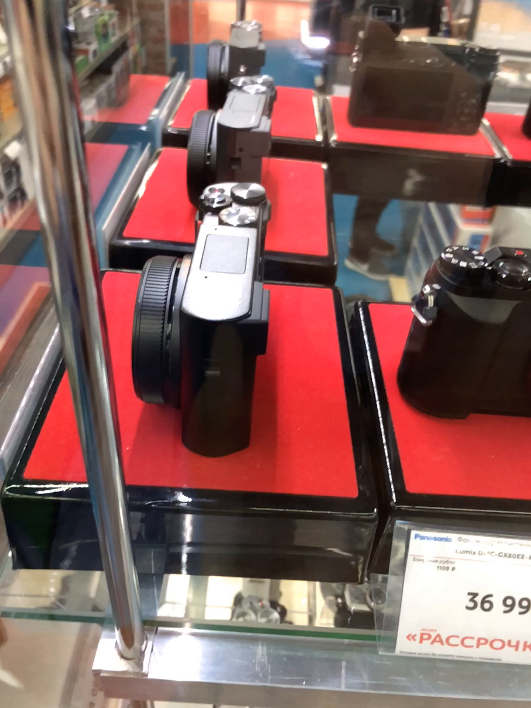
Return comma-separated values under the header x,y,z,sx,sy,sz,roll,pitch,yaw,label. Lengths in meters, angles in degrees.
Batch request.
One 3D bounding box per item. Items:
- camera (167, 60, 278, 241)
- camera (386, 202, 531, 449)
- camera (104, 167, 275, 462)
x,y,z,sx,sy,sz,roll,pitch,yaw,label
-0.026,-0.139,0.396,0.055,0.076,0.114,6,39,1,camera
0.110,-0.011,0.240,0.102,0.076,0.054,4,39,-1,camera
-0.025,-0.022,0.249,0.052,0.070,0.110,4,39,-1,camera
